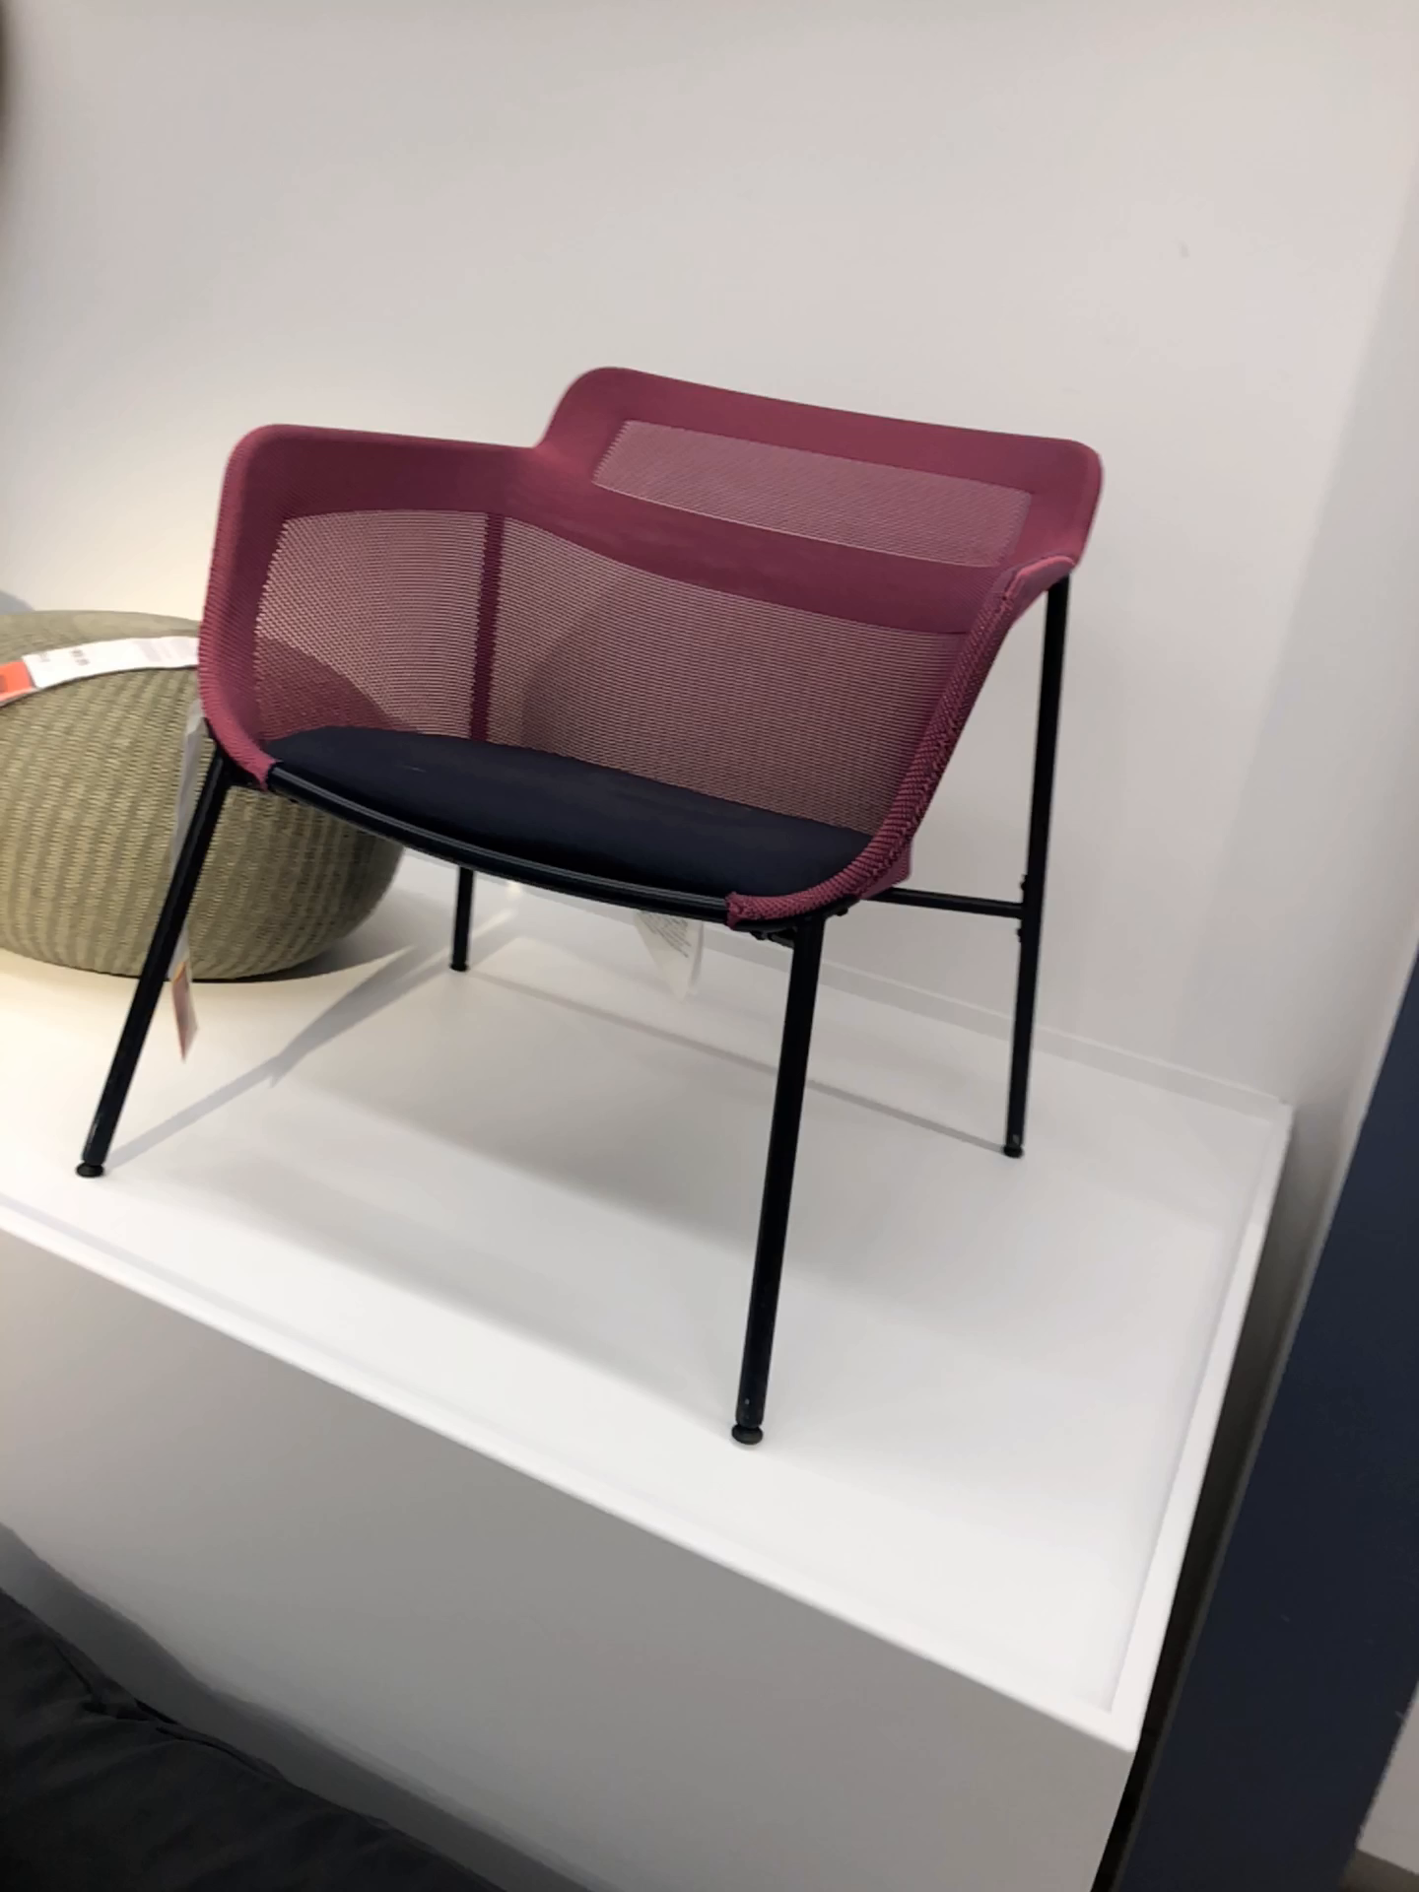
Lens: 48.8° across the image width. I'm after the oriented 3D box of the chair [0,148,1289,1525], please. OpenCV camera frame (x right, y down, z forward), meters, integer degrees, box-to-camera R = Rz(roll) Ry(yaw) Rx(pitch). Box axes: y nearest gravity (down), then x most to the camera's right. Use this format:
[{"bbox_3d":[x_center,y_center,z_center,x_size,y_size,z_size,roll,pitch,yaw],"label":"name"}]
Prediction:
[{"bbox_3d":[0.017,-0.193,1.485,0.780,0.748,1.013,16,19,19],"label":"chair"}]
